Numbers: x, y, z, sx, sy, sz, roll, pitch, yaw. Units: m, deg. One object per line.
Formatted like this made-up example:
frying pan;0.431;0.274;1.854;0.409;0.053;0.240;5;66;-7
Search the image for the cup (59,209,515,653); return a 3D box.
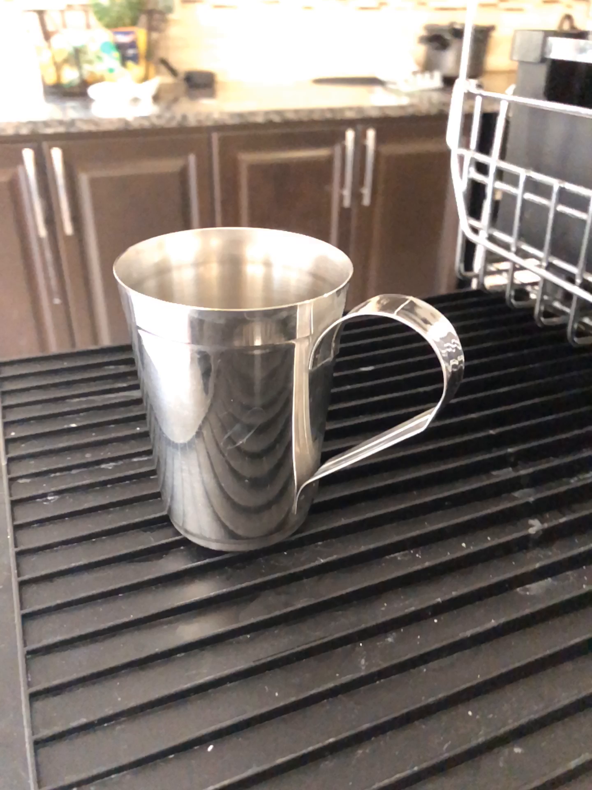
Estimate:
cup;-0.001;0.005;0.210;0.110;0.097;0.065;14;33;20
